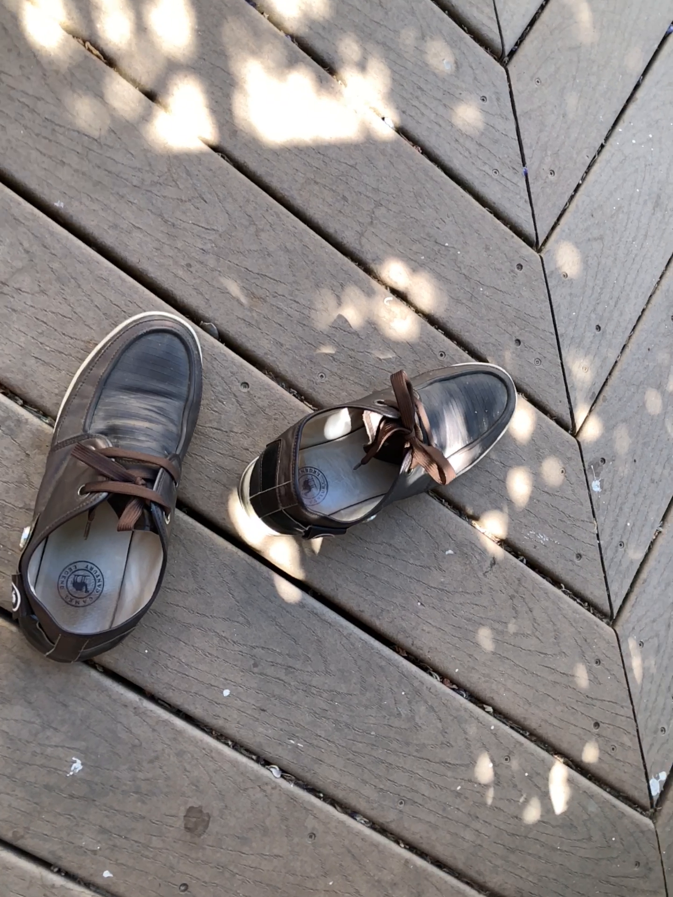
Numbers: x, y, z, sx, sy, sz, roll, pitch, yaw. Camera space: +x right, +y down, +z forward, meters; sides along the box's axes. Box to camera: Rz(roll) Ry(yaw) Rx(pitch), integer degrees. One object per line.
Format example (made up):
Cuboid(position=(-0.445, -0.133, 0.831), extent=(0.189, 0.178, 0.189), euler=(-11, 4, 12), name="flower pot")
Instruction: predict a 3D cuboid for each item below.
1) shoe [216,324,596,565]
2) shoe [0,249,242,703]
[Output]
Cuboid(position=(0.063, -0.006, 0.665), extent=(0.304, 0.116, 0.110), euler=(-20, 92, -21), name="shoe")
Cuboid(position=(-0.175, 0.022, 0.573), extent=(0.110, 0.116, 0.302), euler=(16, 79, -18), name="shoe")
